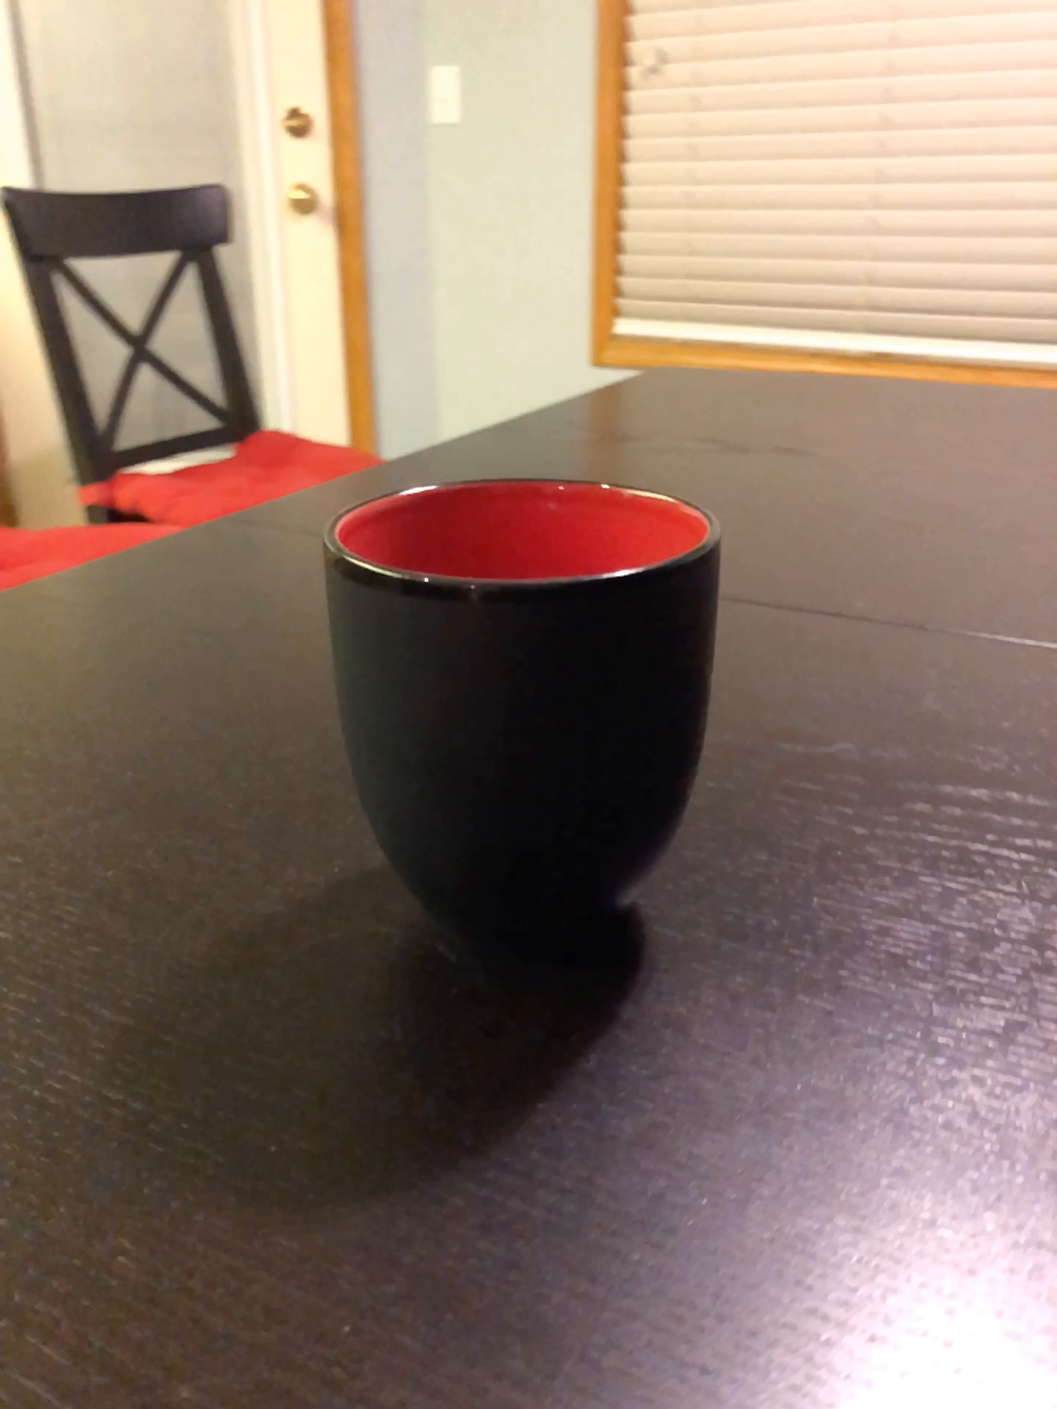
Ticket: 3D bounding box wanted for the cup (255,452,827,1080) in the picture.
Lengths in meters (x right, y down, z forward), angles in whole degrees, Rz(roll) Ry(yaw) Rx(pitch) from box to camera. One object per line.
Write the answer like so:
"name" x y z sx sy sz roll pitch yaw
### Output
"cup" 0.013 0.002 0.326 0.100 0.109 0.141 10 25 22
